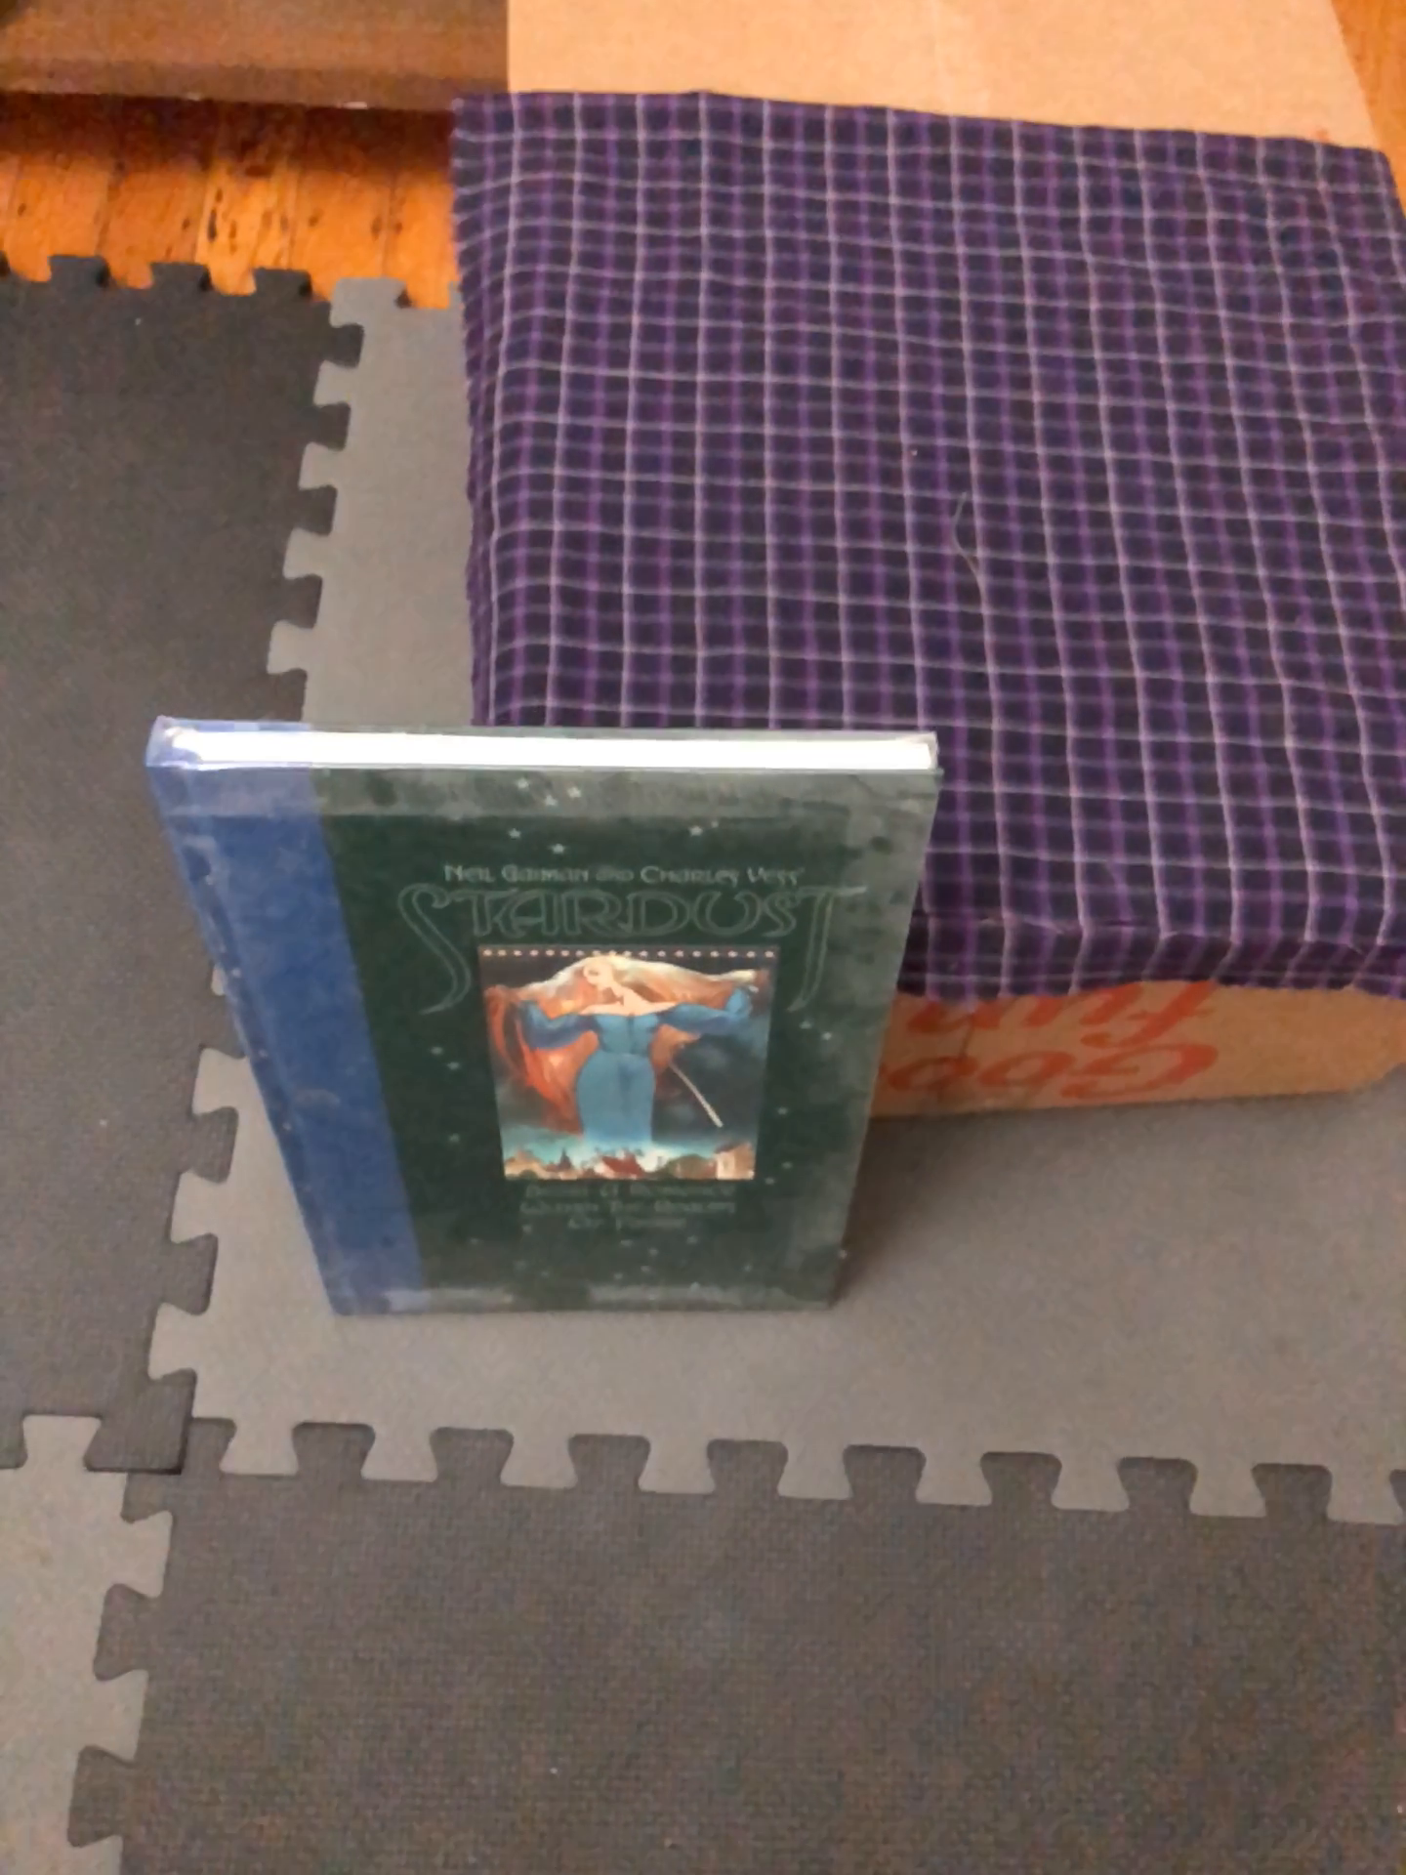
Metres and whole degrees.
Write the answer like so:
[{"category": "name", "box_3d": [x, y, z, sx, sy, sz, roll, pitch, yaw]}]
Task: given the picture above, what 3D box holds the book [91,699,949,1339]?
[{"category": "book", "box_3d": [-0.047, 0.052, 0.515, 0.210, 0.329, 0.020, 0, 51, -1]}]
